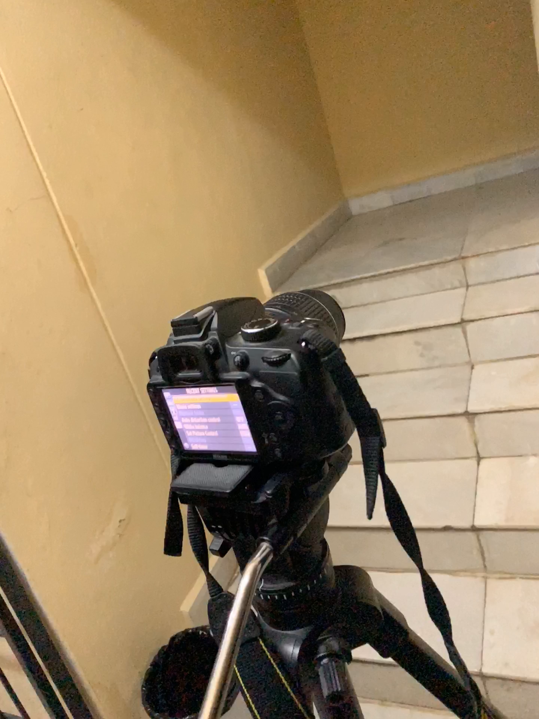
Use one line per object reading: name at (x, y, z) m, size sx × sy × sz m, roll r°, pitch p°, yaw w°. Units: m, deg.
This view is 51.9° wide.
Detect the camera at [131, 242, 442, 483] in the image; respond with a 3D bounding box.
camera at (0.017, -0.003, 0.356) m, size 0.134 × 0.090 × 0.130 m, roll -3°, pitch 24°, yaw 37°
